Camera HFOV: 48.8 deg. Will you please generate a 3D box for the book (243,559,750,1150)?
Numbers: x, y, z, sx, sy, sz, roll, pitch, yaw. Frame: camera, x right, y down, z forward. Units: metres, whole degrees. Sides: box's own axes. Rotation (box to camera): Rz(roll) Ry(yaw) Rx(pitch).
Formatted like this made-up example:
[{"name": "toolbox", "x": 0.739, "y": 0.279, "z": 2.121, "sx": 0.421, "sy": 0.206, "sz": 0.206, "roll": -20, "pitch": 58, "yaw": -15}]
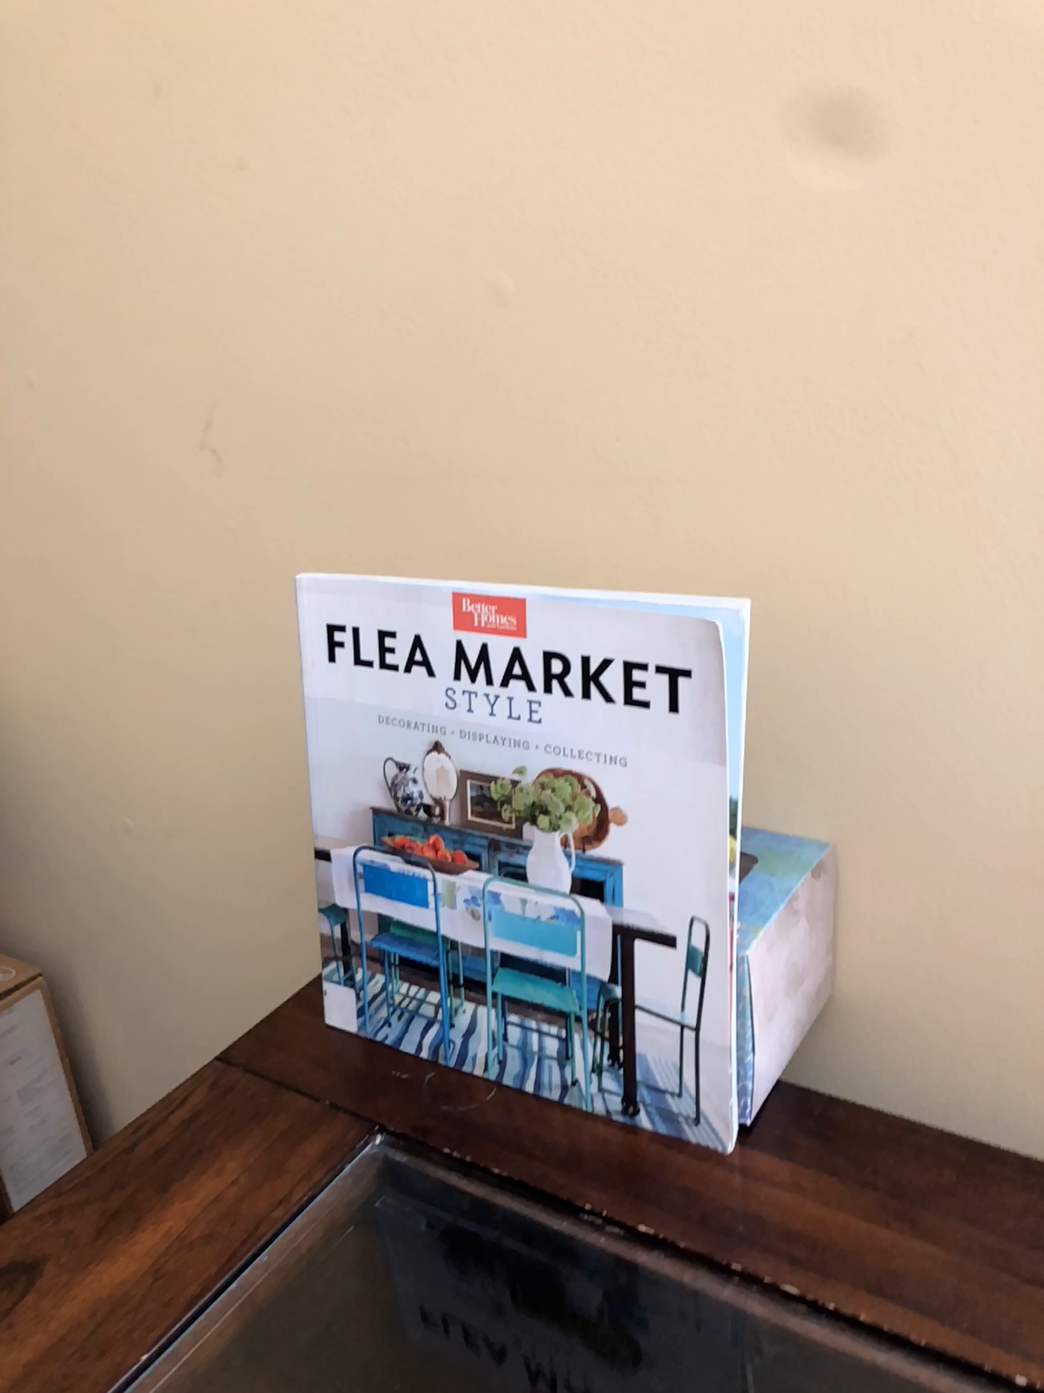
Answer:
[{"name": "book", "x": -0.014, "y": 0.063, "z": 0.528, "sx": 0.233, "sy": 0.239, "sz": 0.032, "roll": 6, "pitch": 20, "yaw": 30}]
